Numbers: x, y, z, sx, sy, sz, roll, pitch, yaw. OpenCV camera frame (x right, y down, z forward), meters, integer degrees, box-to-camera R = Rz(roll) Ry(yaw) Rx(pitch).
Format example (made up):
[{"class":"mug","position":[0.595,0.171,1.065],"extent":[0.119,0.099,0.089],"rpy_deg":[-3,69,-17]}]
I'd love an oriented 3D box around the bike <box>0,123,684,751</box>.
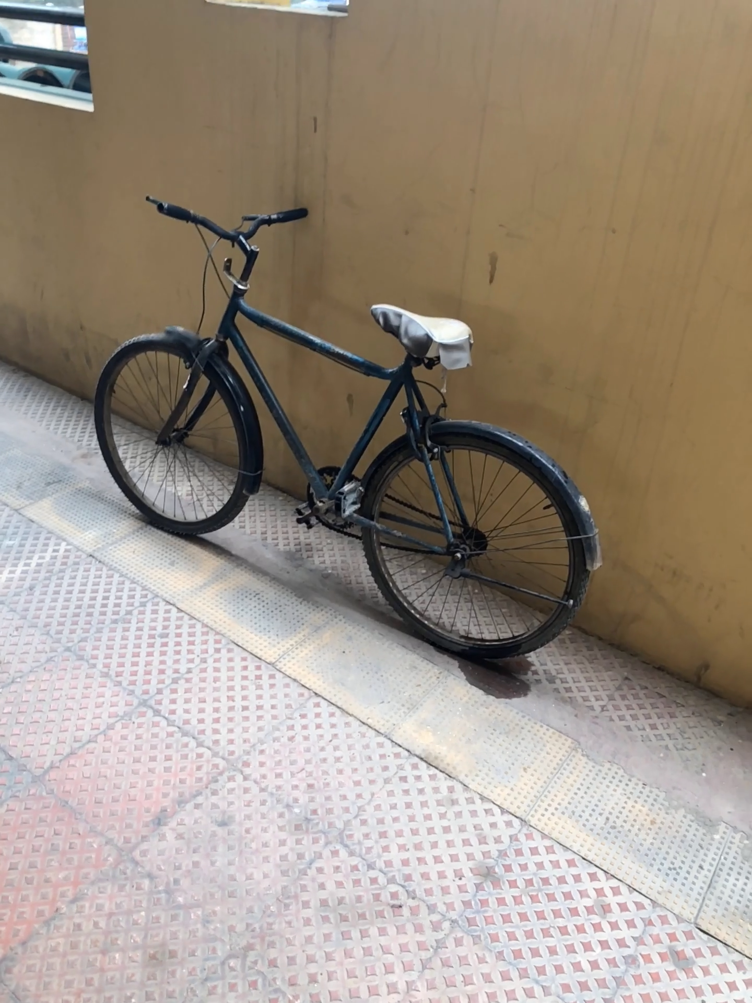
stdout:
[{"class":"bike","position":[-0.214,-0.244,2.085],"extent":[1.548,0.998,0.543],"rpy_deg":[22,35,22]}]
